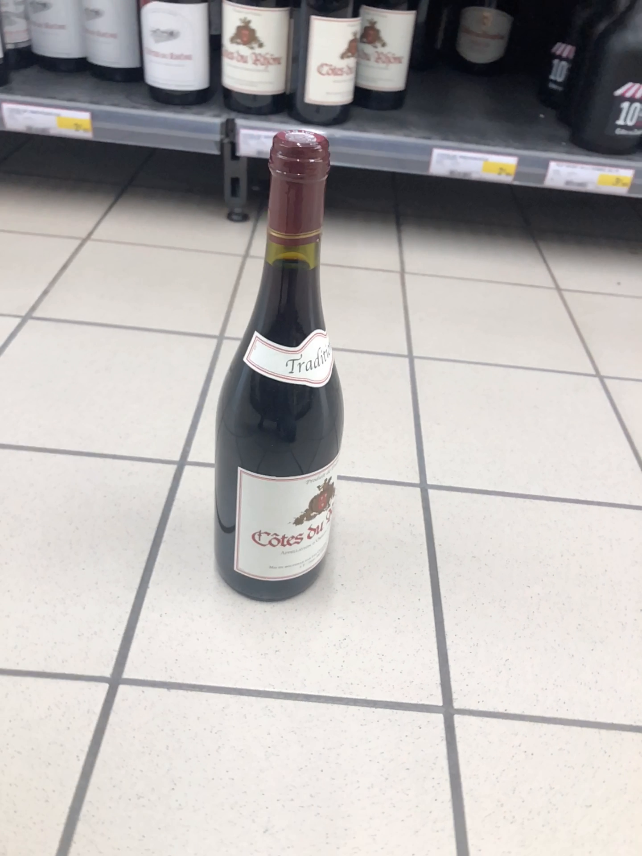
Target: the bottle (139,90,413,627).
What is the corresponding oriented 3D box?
[{"bbox_3d":[-0.032,-0.027,0.415,0.090,0.288,0.091,4,37,-3],"label":"bottle"}]
